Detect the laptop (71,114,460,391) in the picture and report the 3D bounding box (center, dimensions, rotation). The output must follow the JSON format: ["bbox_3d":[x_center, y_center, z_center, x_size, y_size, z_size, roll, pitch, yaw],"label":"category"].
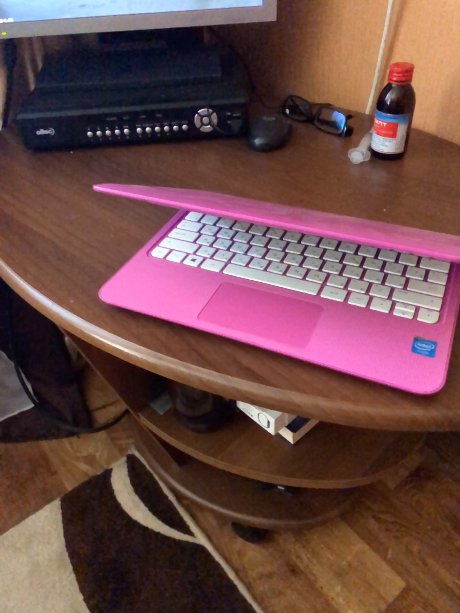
[{"bbox_3d":[0.048,-0.066,0.402,0.264,0.081,0.187,15,43,20],"label":"laptop"}]
